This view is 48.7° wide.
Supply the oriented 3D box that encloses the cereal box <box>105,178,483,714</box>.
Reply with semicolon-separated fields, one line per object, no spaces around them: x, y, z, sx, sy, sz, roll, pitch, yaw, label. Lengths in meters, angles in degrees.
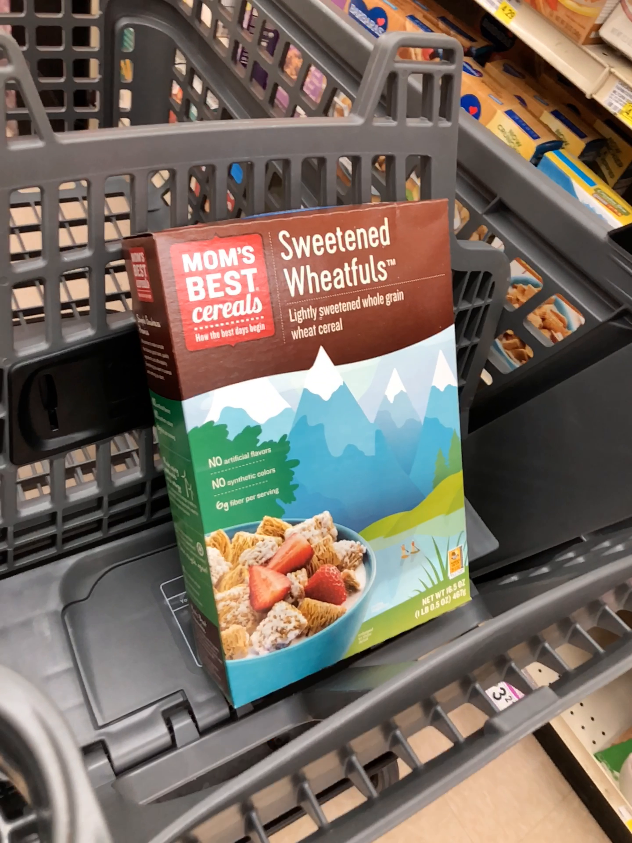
0.000;0.005;0.454;0.200;0.290;0.080;-15;18;-27;cereal box
